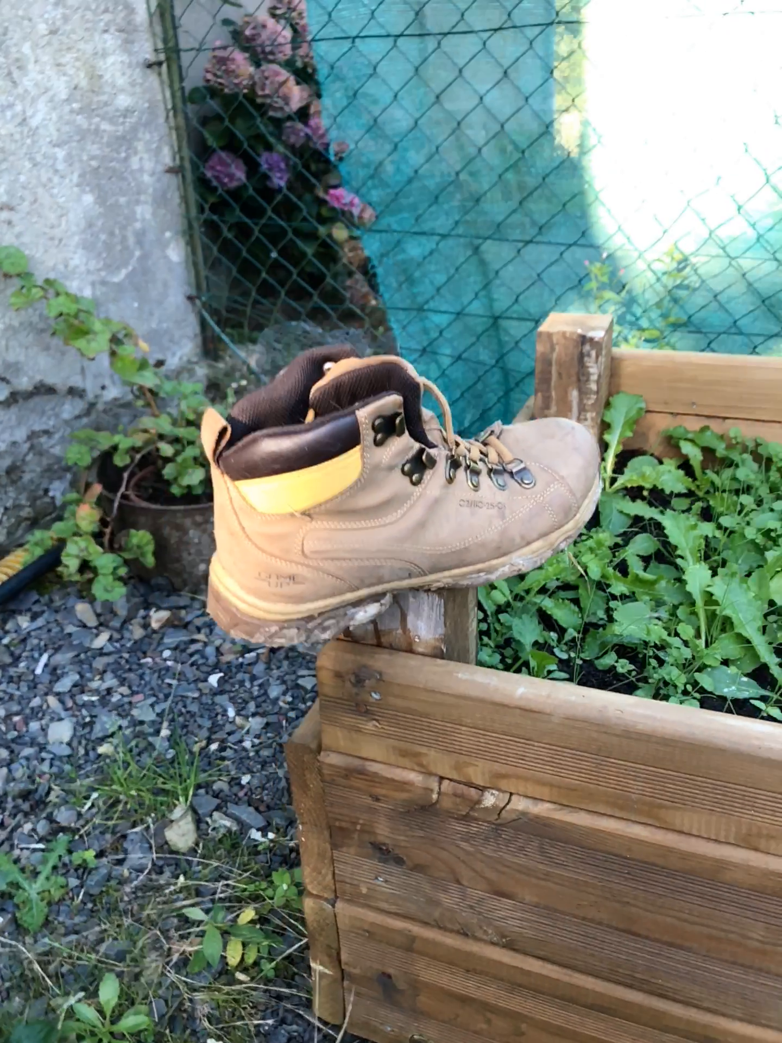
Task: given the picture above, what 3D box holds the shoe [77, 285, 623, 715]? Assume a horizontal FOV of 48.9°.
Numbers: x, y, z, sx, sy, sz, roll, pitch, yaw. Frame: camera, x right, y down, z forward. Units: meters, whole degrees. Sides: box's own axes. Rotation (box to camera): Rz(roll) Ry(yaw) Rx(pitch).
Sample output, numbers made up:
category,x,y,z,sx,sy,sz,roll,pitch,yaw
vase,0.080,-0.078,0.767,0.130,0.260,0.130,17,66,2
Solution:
category,x,y,z,sx,sy,sz,roll,pitch,yaw
shoe,-0.011,-0.028,0.498,0.281,0.149,0.100,-19,32,-25
